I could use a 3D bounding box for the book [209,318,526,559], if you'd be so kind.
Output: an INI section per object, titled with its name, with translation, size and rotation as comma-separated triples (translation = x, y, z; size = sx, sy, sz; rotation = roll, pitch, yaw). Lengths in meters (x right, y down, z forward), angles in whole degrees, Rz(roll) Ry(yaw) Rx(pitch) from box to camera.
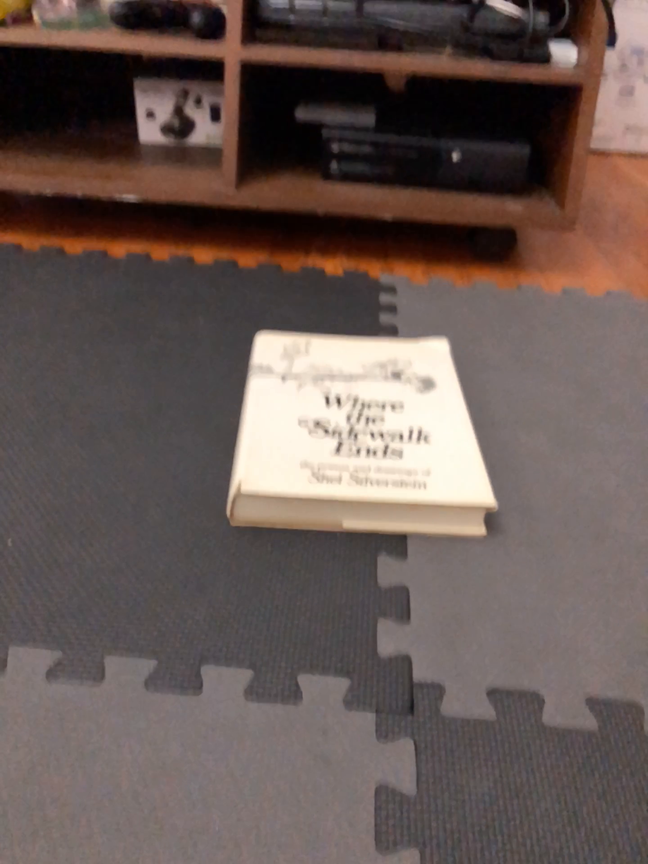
[book]
translation = 0.029, -0.013, 0.578
size = 0.200, 0.030, 0.281
rotation = 3, 34, -1
